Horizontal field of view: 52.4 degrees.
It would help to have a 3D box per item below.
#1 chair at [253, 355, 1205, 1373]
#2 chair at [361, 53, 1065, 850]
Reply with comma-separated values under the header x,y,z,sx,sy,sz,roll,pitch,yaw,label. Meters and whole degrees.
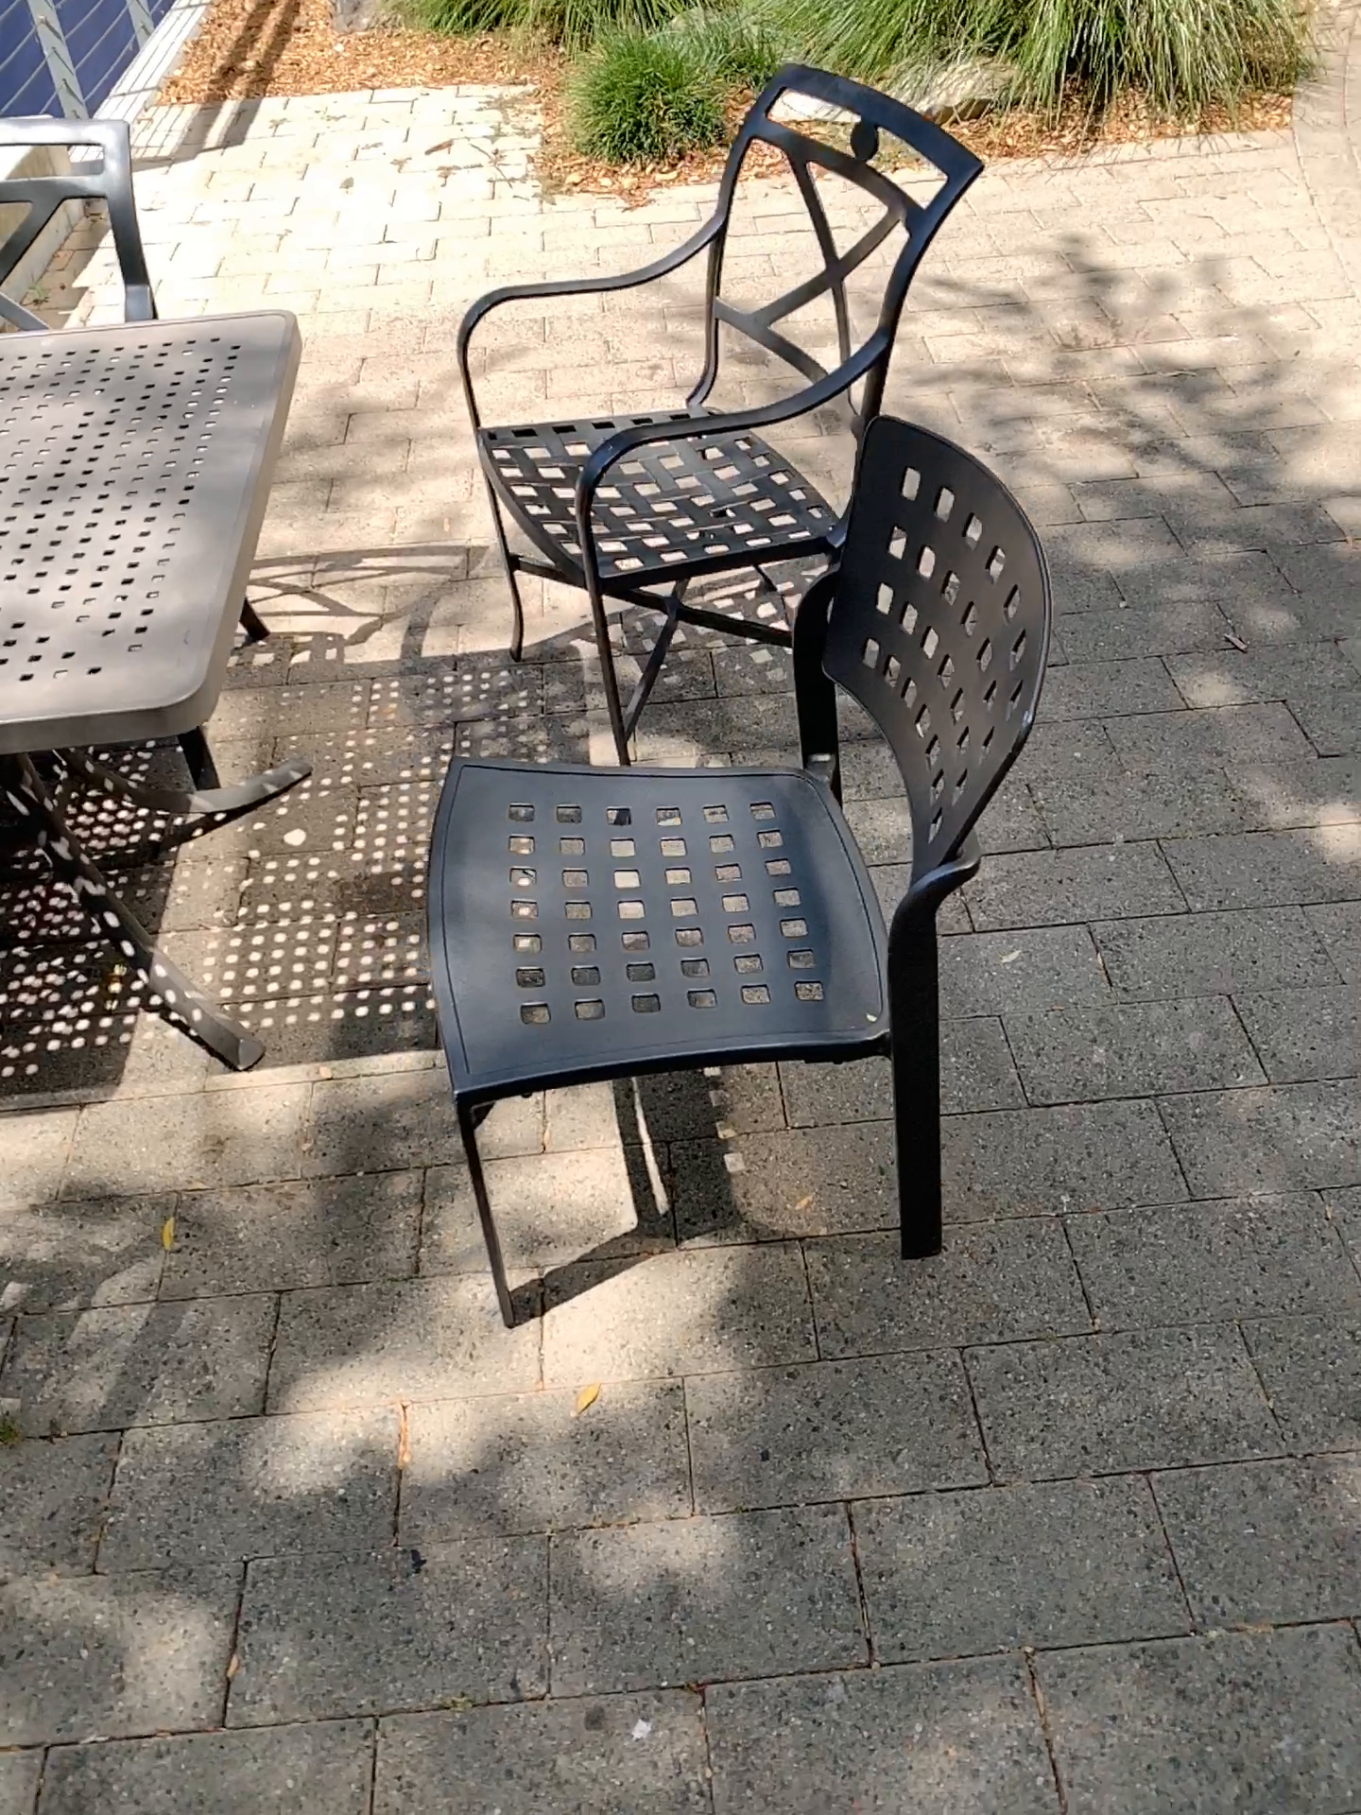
x,y,z,sx,sy,sz,roll,pitch,yaw,label
0.007,-0.042,1.397,0.650,0.706,0.624,-9,45,-5,chair
0.030,-0.653,1.959,0.650,0.756,0.623,-21,48,-16,chair
